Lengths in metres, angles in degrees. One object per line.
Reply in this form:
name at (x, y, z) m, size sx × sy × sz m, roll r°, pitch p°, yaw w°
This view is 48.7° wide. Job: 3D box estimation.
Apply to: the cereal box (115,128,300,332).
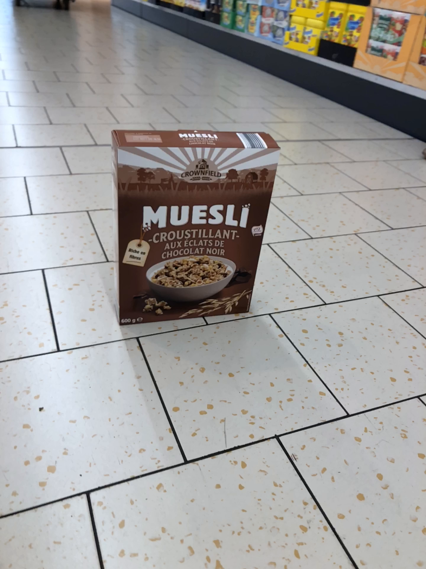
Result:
cereal box at (-0.018, -0.063, 0.597) m, size 0.200 × 0.238 × 0.070 m, roll -3°, pitch 33°, yaw -14°
